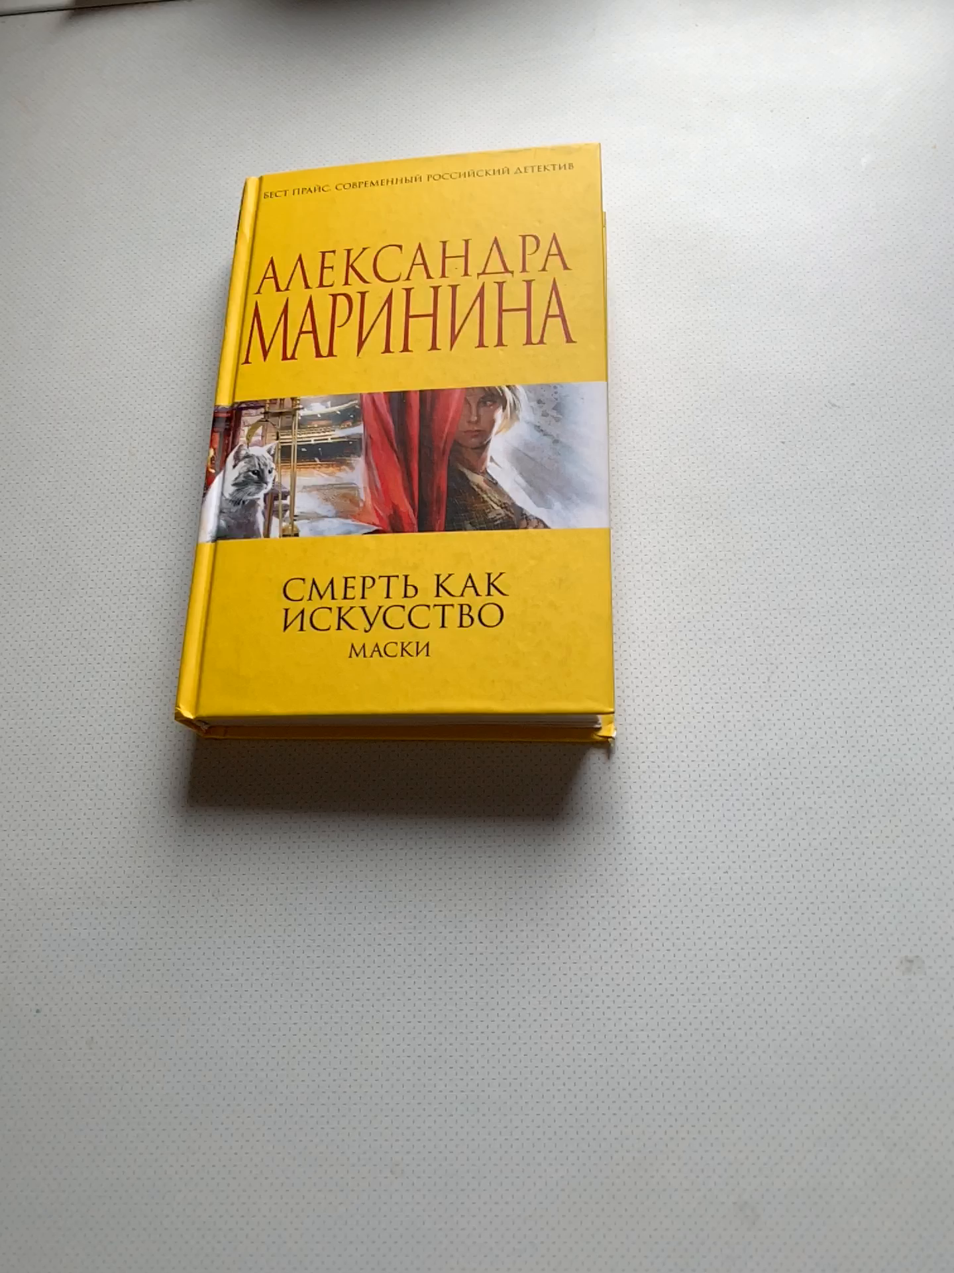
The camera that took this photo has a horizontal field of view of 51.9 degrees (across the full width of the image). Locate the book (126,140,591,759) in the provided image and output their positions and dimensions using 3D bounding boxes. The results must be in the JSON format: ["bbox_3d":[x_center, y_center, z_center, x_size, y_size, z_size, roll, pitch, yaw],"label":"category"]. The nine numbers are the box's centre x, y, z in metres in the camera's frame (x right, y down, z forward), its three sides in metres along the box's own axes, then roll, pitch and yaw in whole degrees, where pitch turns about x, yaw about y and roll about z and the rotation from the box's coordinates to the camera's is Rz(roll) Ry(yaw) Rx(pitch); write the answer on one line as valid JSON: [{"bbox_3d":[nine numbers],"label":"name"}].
[{"bbox_3d":[-0.028,-0.060,0.294,0.120,0.030,0.189,-1,70,7],"label":"book"}]
